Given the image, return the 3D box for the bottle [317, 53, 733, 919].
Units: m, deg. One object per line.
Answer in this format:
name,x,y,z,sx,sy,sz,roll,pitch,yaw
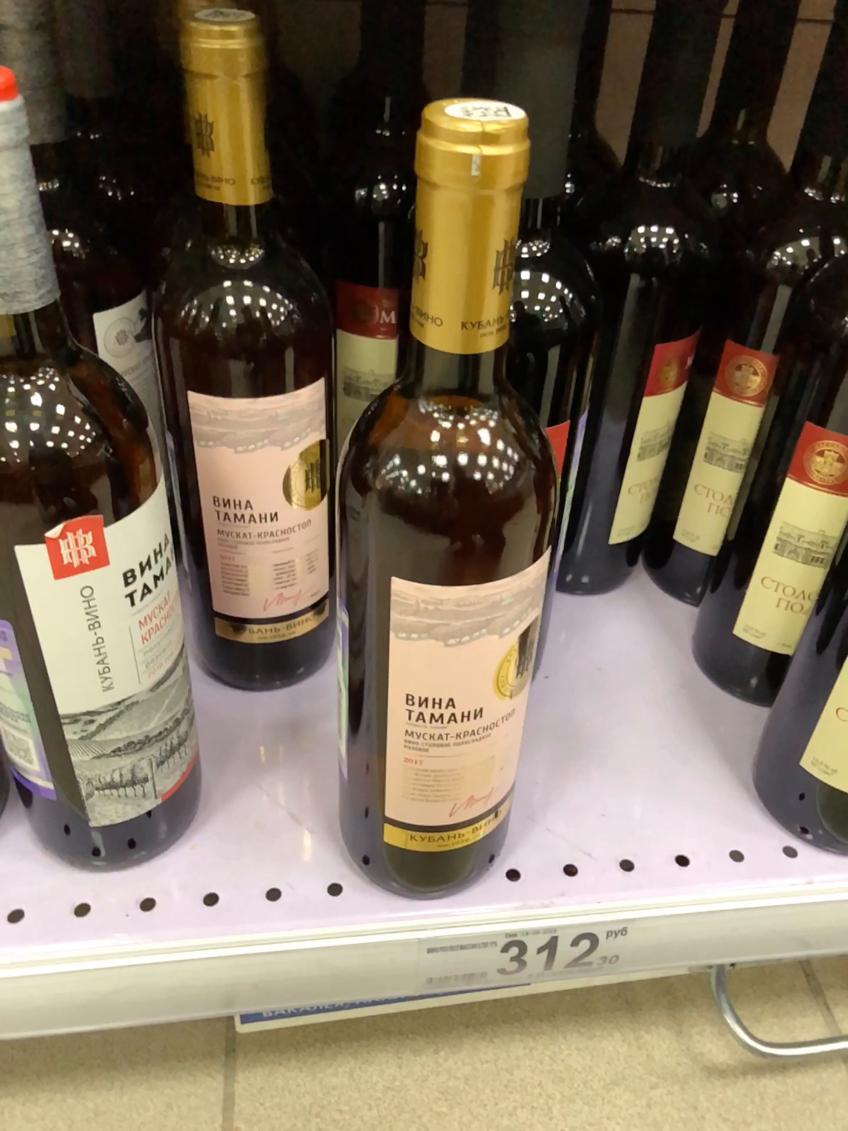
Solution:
bottle,0.012,-0.002,0.315,0.080,0.290,0.070,-8,40,-15
